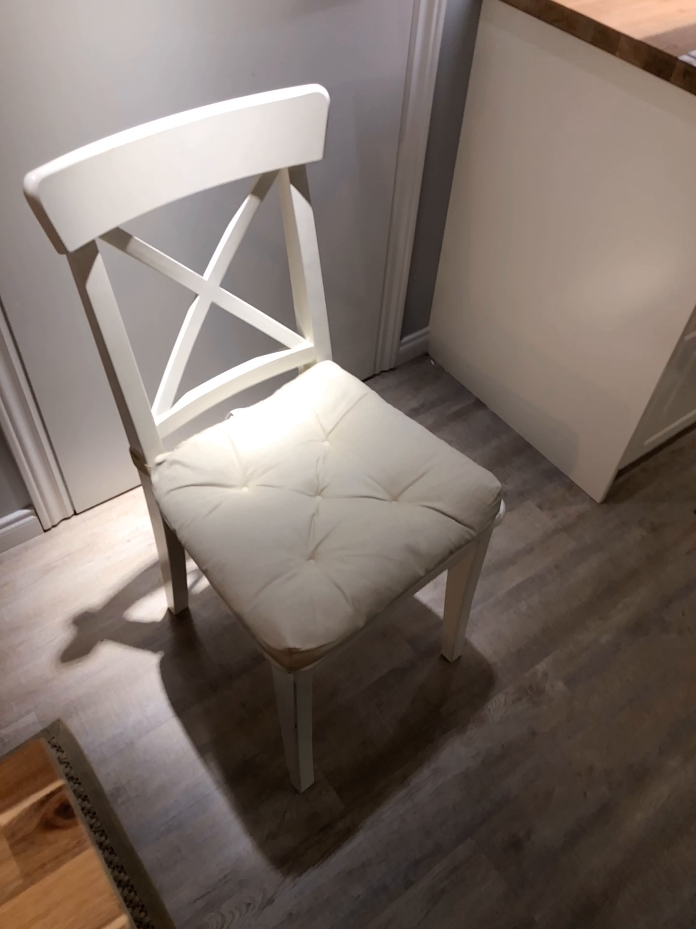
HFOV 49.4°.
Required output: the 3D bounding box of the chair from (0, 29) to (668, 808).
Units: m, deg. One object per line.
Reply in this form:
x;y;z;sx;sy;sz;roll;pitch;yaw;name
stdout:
-0.054;-0.009;1.070;0.451;0.875;0.512;-33;59;-28;chair
